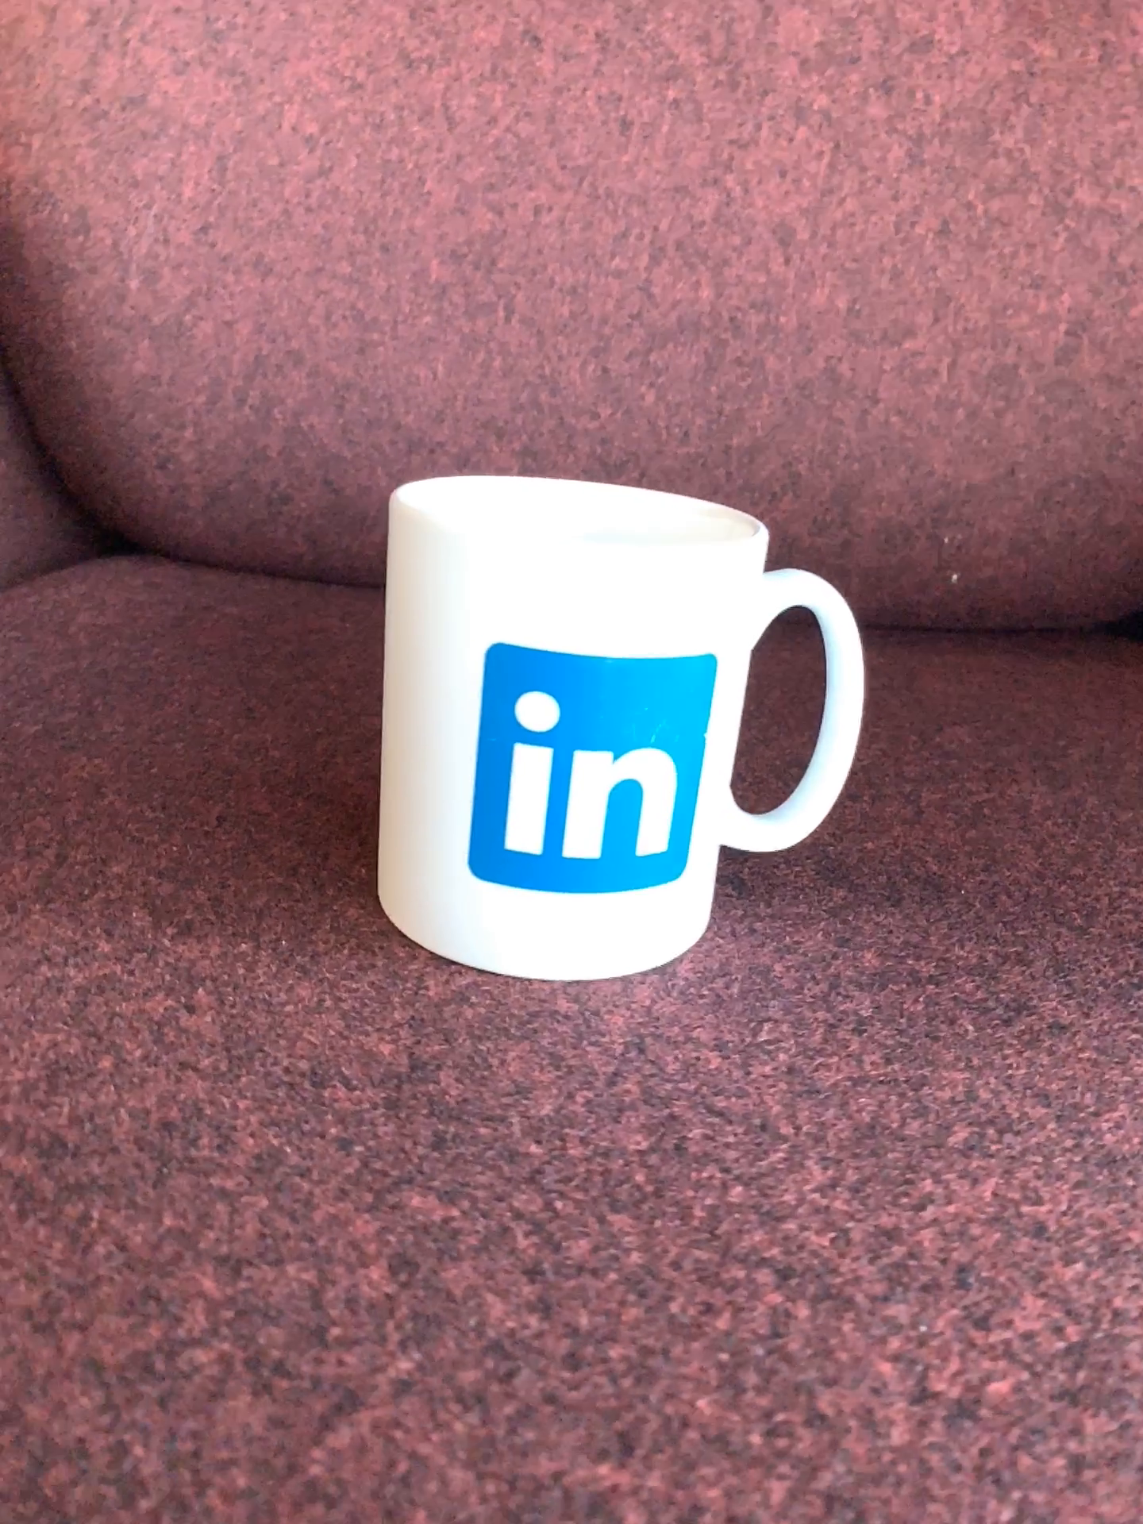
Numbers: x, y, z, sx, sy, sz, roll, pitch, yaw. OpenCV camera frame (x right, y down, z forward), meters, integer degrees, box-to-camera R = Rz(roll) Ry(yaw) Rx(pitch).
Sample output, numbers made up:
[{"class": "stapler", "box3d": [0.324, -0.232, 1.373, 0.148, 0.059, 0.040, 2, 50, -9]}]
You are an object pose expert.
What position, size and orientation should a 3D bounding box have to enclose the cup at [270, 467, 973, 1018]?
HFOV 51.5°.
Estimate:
[{"class": "cup", "box3d": [0.006, -0.010, 0.260, 0.120, 0.089, 0.091, 2, 21, -2]}]
